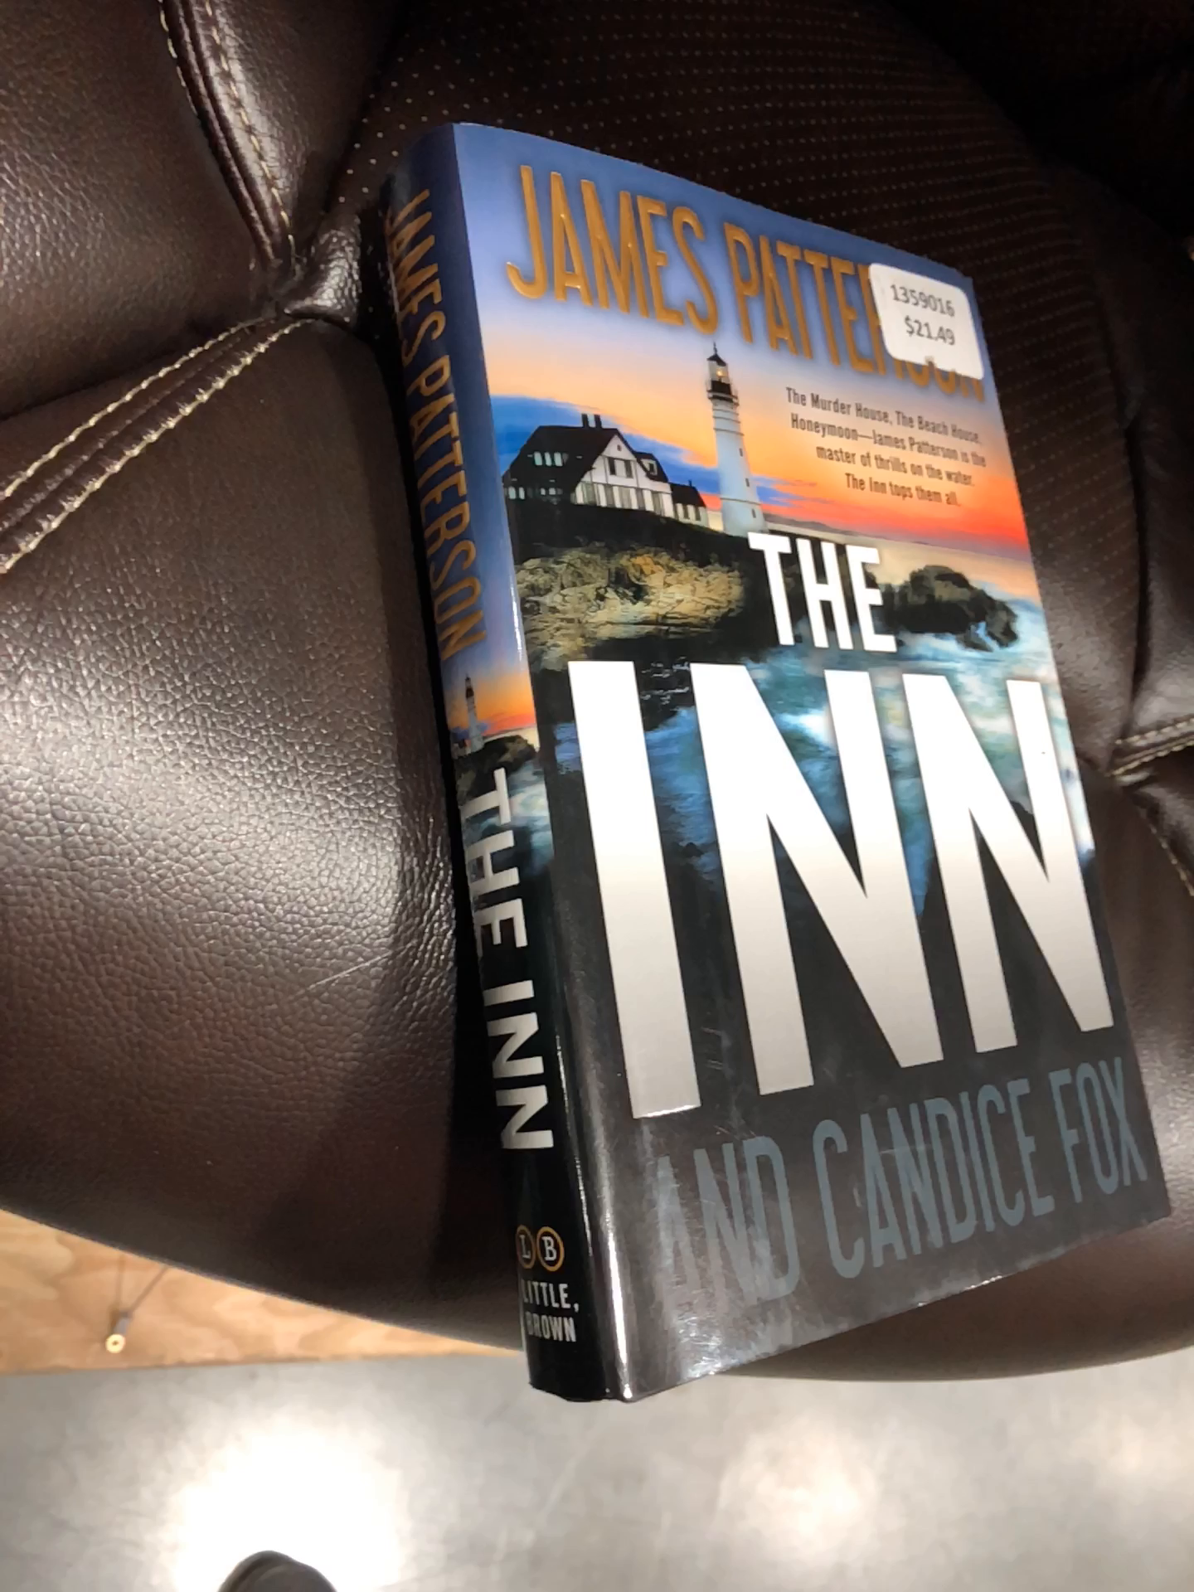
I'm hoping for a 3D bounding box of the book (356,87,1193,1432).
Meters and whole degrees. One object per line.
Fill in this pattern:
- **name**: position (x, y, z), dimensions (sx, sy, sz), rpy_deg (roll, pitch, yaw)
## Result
- **book**: position (0.046, -0.015, 0.304), dimensions (0.171, 0.040, 0.250), rpy_deg (-1, 77, -34)
